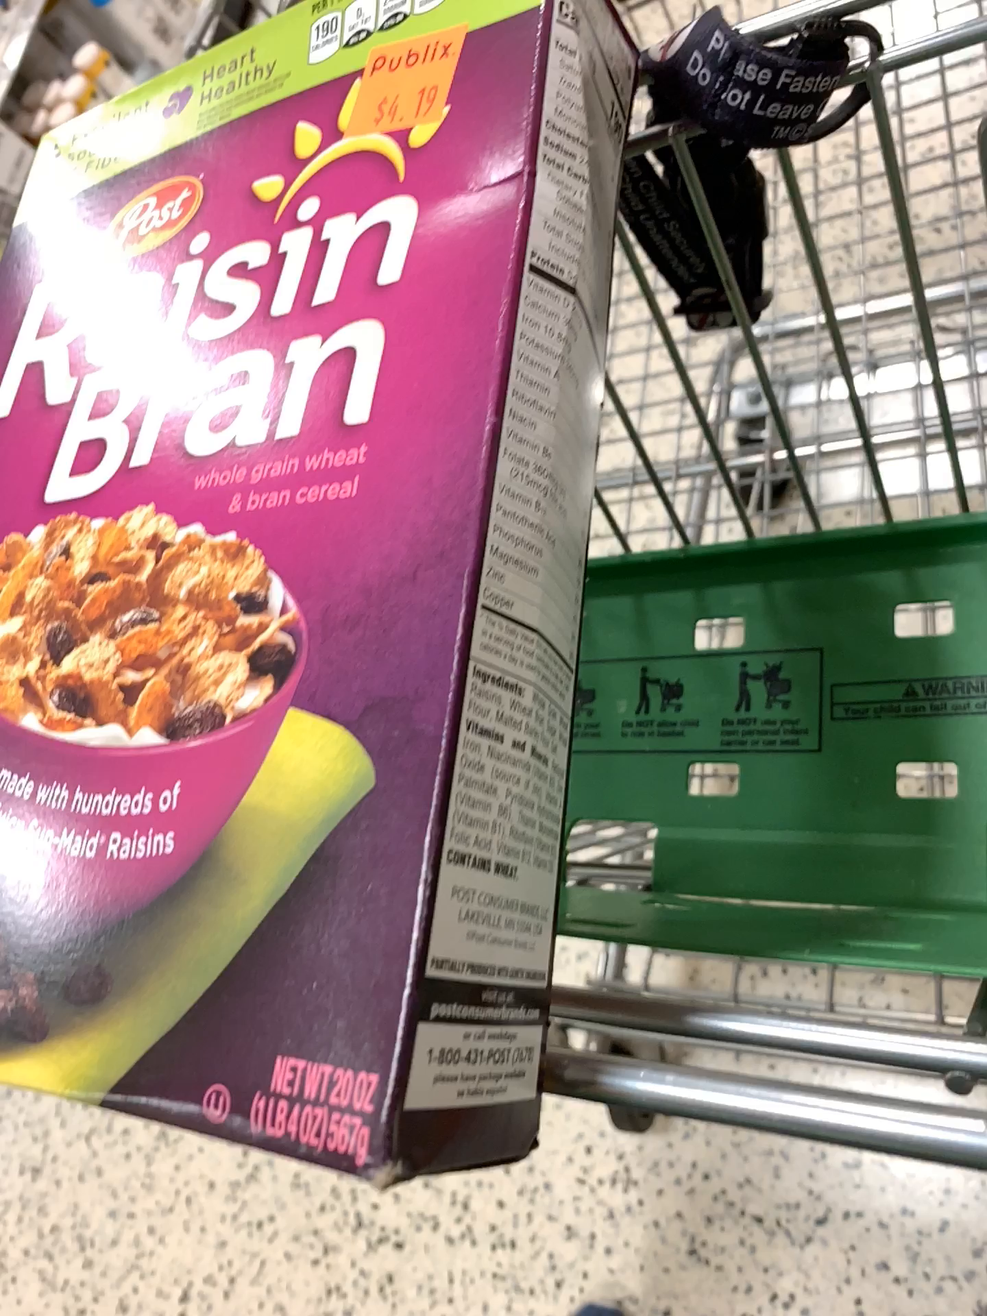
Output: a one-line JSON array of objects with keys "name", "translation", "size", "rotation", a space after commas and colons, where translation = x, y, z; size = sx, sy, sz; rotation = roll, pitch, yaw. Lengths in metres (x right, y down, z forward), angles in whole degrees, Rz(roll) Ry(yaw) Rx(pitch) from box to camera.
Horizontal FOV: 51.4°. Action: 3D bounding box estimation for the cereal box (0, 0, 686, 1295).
[{"name": "cereal box", "translation": [-0.072, -0.034, 0.256], "size": [0.211, 0.060, 0.281], "rotation": [-4, 69, 31]}]
